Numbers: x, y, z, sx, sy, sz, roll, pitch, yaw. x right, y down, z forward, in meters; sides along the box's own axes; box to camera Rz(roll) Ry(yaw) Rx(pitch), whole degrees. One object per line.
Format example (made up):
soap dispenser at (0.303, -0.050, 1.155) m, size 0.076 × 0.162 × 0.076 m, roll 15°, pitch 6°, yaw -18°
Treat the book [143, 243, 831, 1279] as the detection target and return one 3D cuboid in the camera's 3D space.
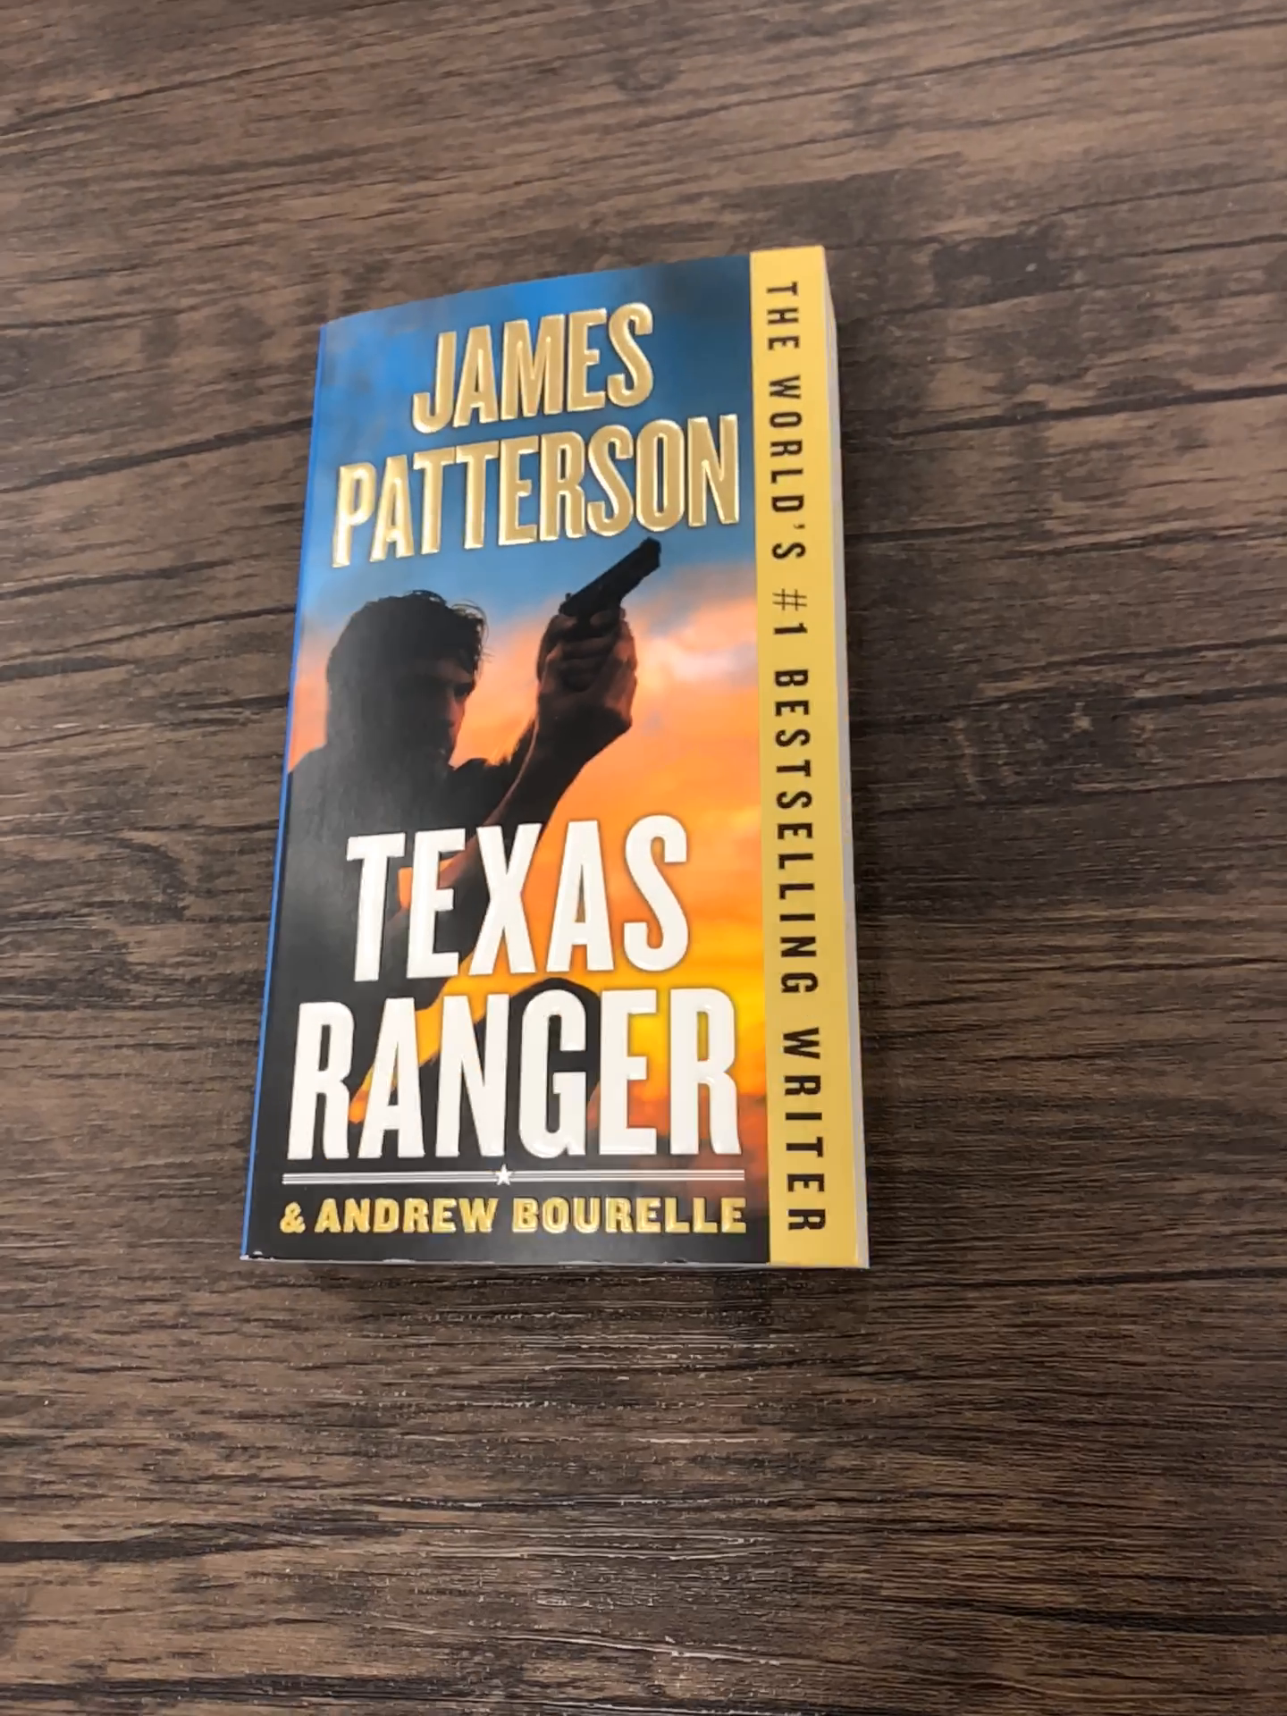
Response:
book at (-0.023, -0.017, 0.265) m, size 0.107 × 0.040 × 0.180 m, roll -3°, pitch 73°, yaw 11°
